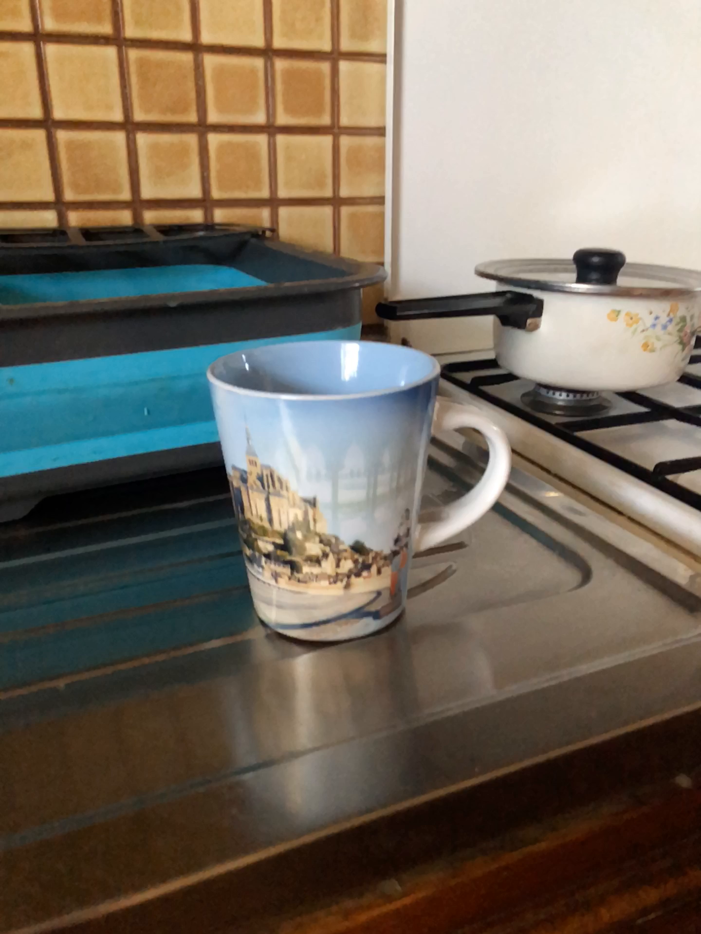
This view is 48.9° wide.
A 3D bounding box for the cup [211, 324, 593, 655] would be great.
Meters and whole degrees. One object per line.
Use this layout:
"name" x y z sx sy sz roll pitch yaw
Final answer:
"cup" 0.014 0.000 0.332 0.130 0.100 0.100 -5 22 -15
